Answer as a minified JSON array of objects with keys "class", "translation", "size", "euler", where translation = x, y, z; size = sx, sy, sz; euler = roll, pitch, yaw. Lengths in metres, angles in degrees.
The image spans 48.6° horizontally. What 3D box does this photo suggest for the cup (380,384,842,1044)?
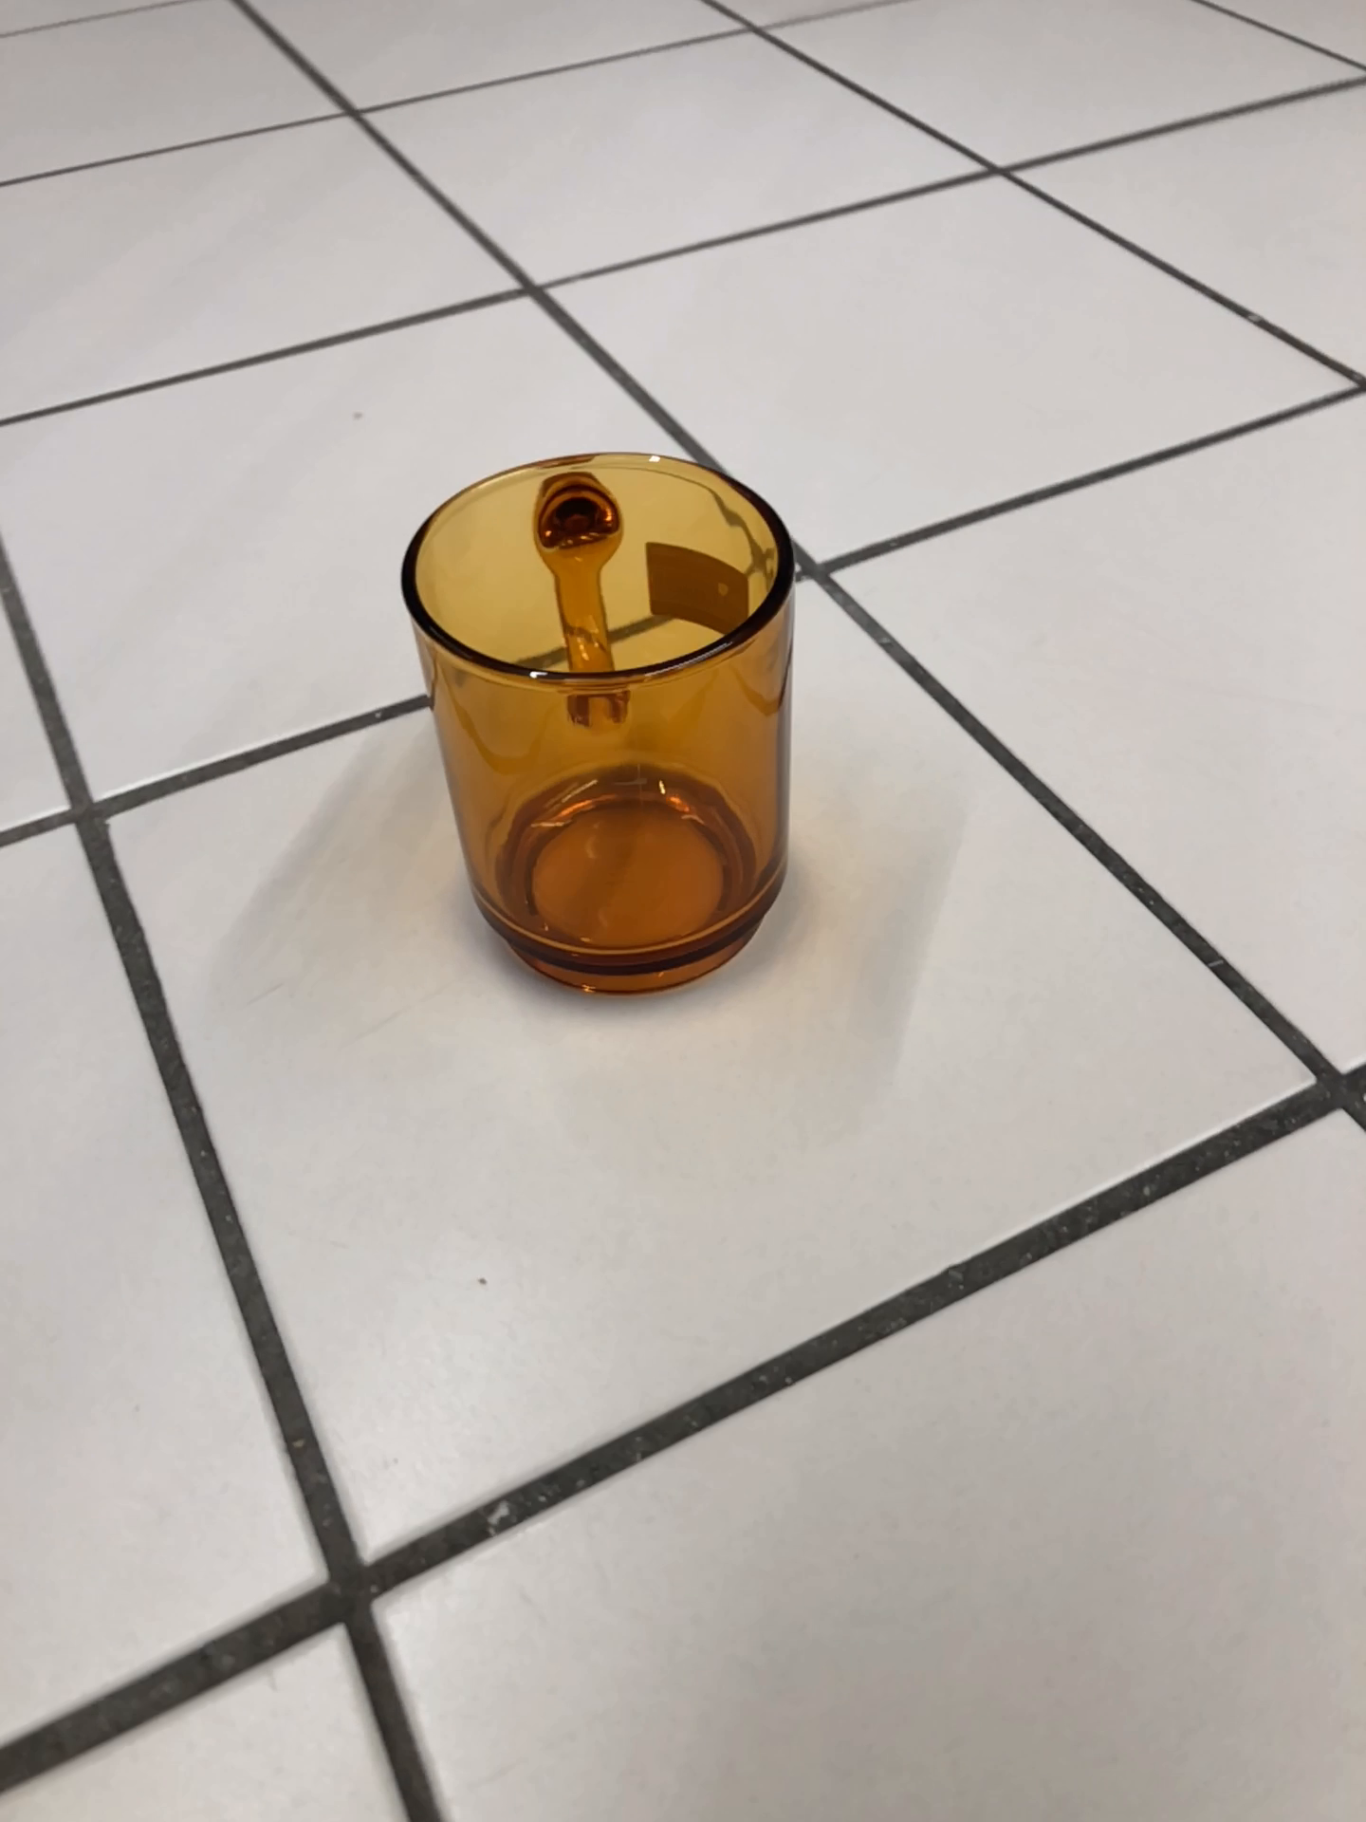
[{"class":"cup","translation":[-0.016,-0.041,0.304],"size":[0.074,0.082,0.096],"euler":[-7,47,-4]}]
